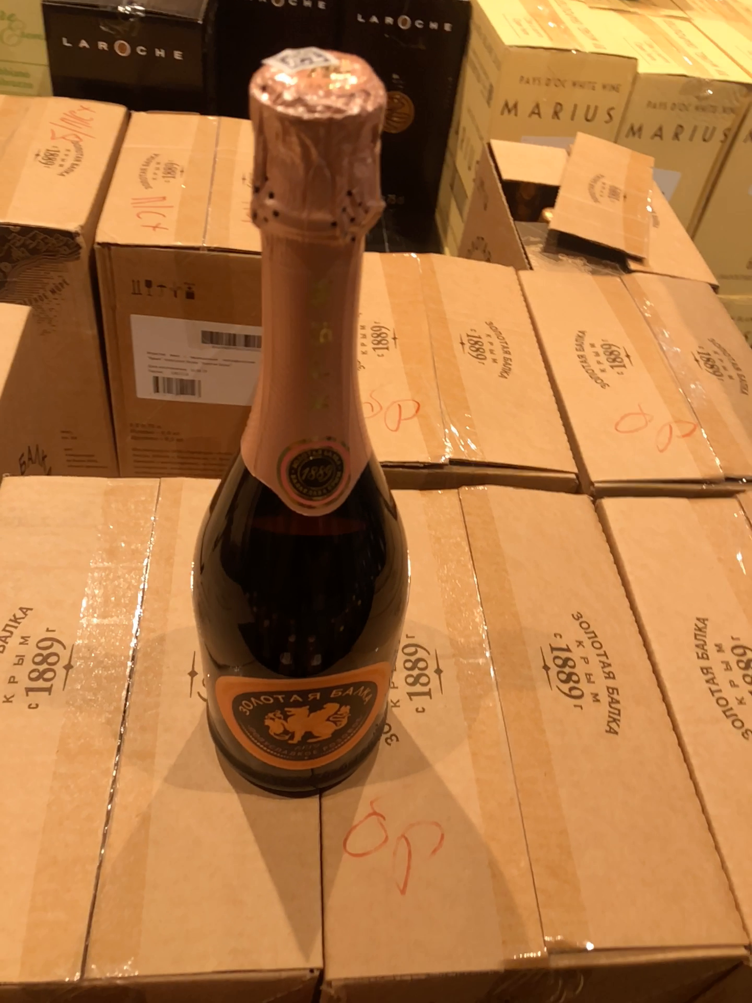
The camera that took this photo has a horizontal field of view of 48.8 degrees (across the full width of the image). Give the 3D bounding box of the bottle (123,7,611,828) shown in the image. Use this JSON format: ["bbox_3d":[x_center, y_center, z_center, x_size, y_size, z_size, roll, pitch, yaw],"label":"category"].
[{"bbox_3d":[-0.021,0.007,0.307,0.100,0.308,0.091,-1,46,-9],"label":"bottle"}]
